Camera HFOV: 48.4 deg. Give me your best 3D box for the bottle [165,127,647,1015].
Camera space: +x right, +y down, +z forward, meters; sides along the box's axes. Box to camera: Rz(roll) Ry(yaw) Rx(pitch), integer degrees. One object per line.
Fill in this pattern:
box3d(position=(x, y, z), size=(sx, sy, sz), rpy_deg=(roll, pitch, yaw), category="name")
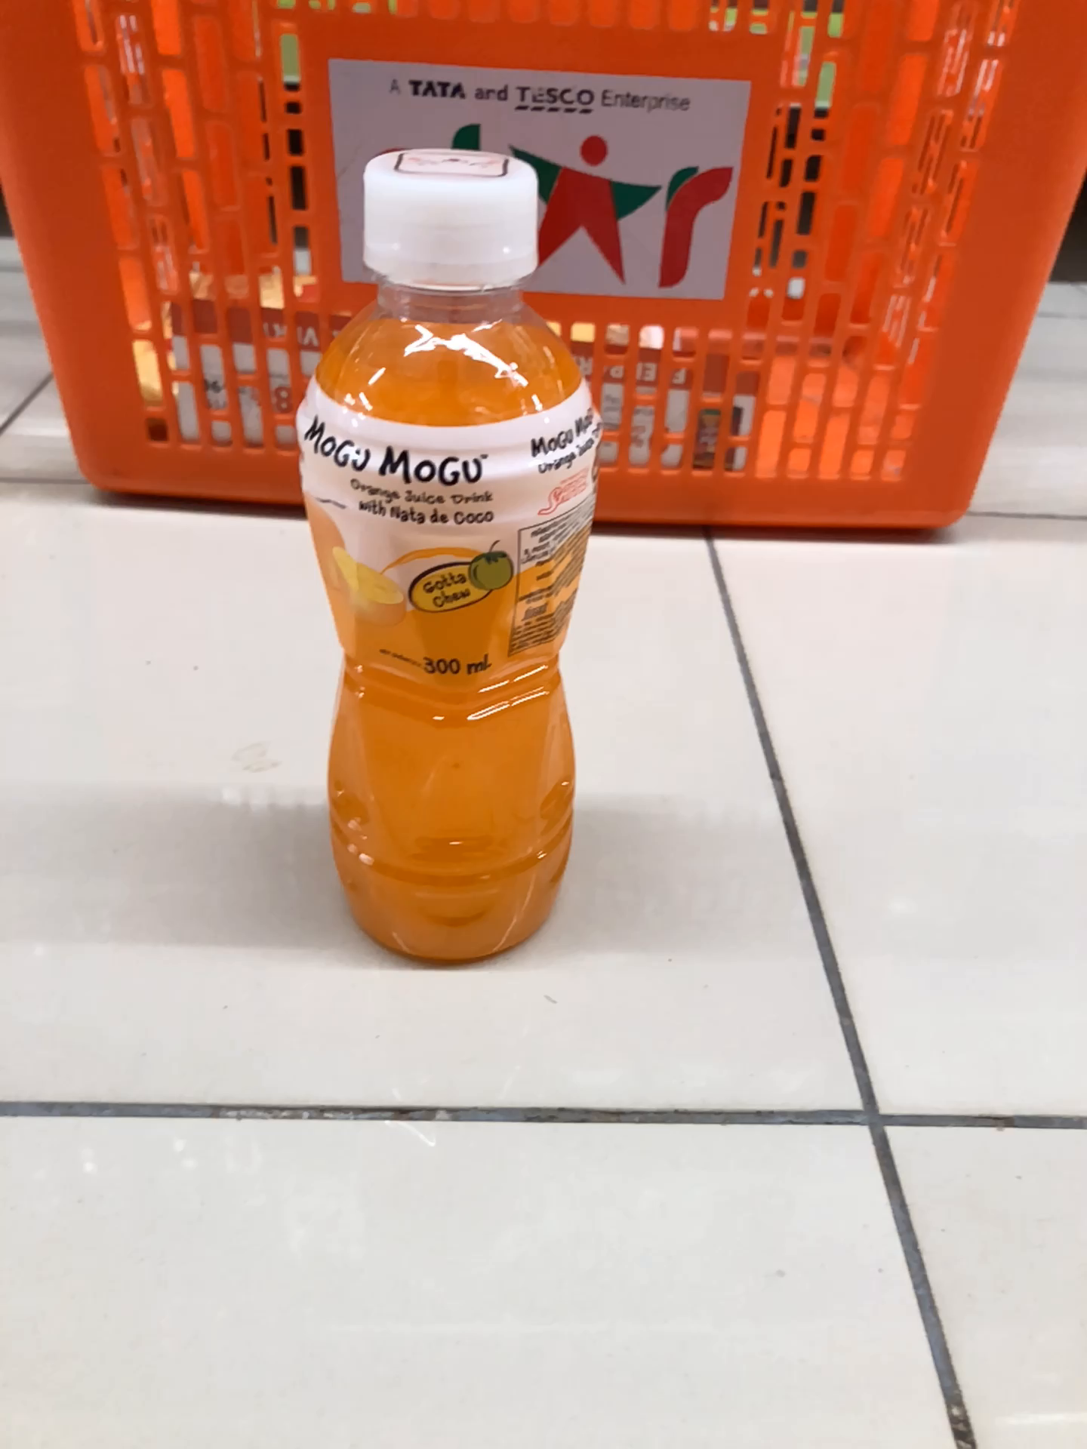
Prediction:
box3d(position=(-0.024, -0.025, 0.241), size=(0.060, 0.159, 0.050), rpy_deg=(19, 38, 22), category="bottle")
